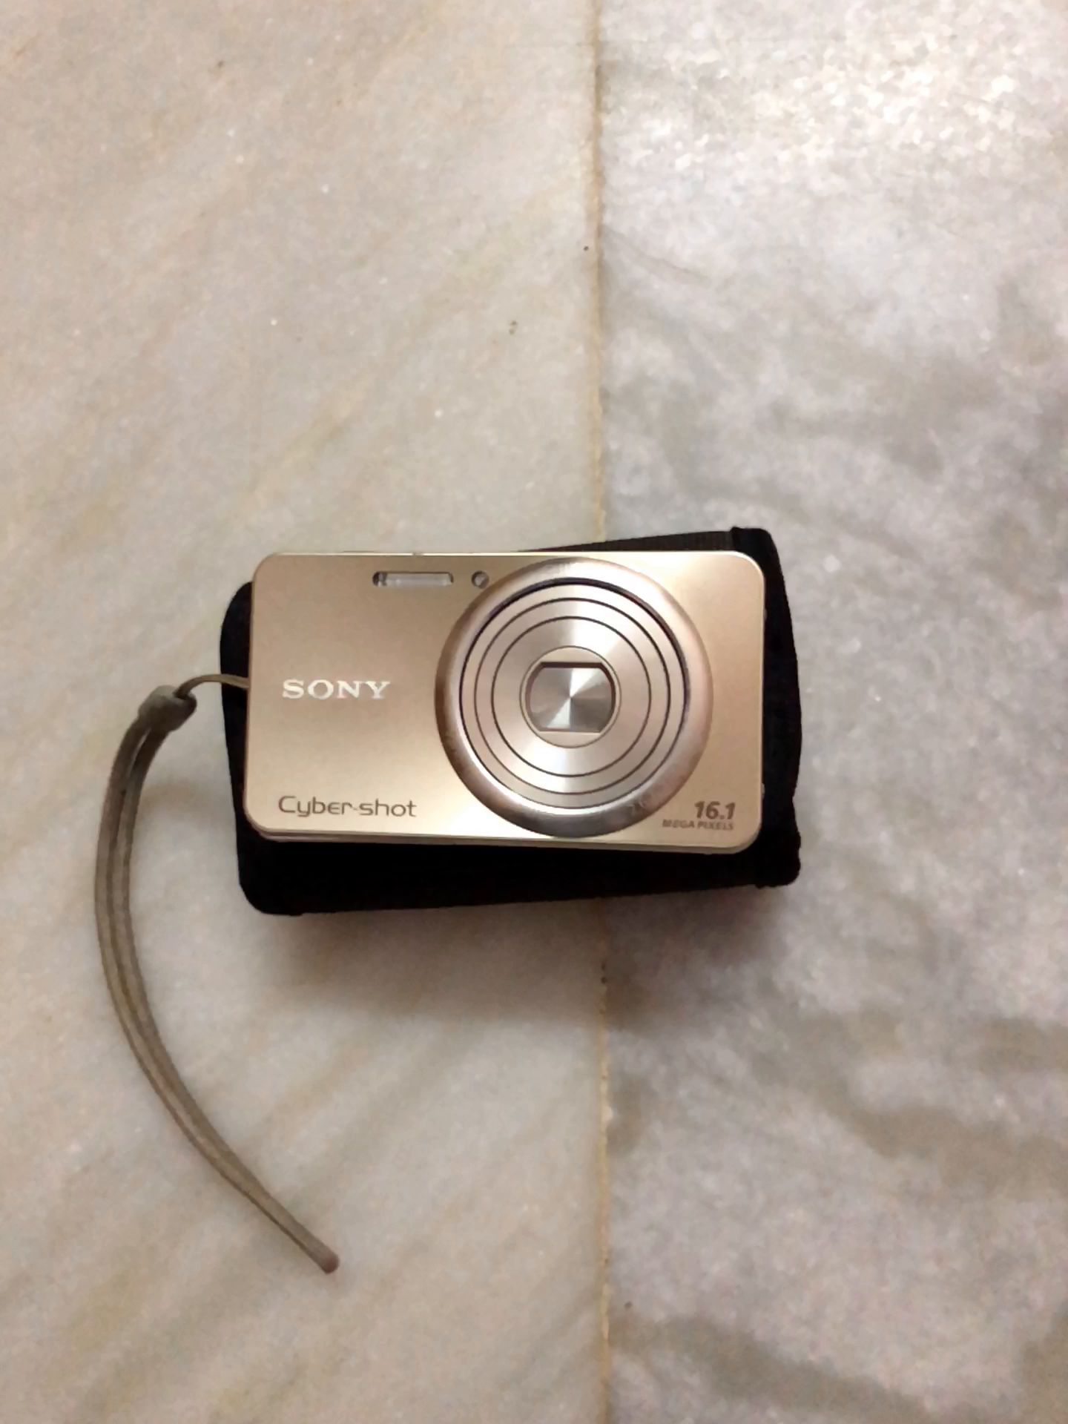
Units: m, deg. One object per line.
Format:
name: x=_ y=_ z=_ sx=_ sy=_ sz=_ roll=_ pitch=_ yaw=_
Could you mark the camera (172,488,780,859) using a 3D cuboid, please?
camera: x=-0.009 y=-0.006 z=0.207 sx=0.100 sy=0.020 sz=0.060 roll=0 pitch=84 yaw=6
